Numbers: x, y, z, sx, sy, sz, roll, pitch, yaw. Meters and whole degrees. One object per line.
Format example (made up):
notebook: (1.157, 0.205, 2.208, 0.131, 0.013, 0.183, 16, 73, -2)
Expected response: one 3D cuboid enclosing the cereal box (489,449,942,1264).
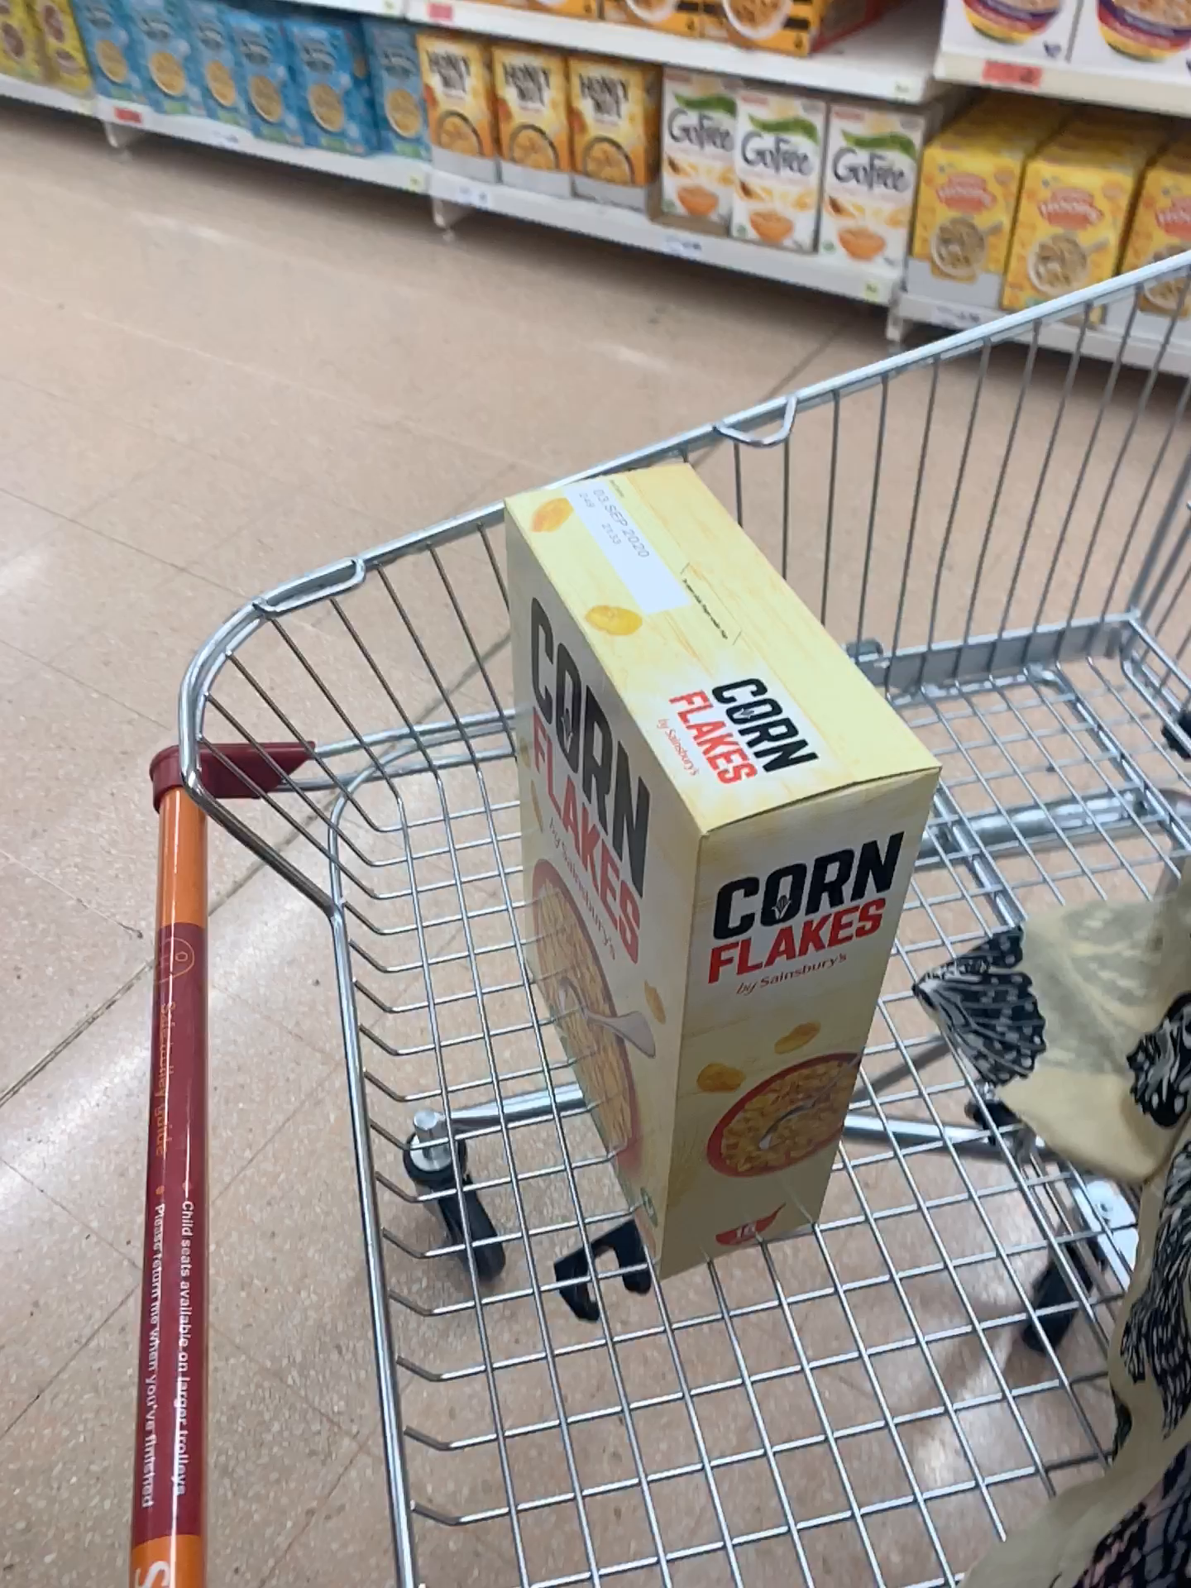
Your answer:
cereal box: (0.031, 0.034, 0.509, 0.080, 0.278, 0.192, -15, 47, -14)
